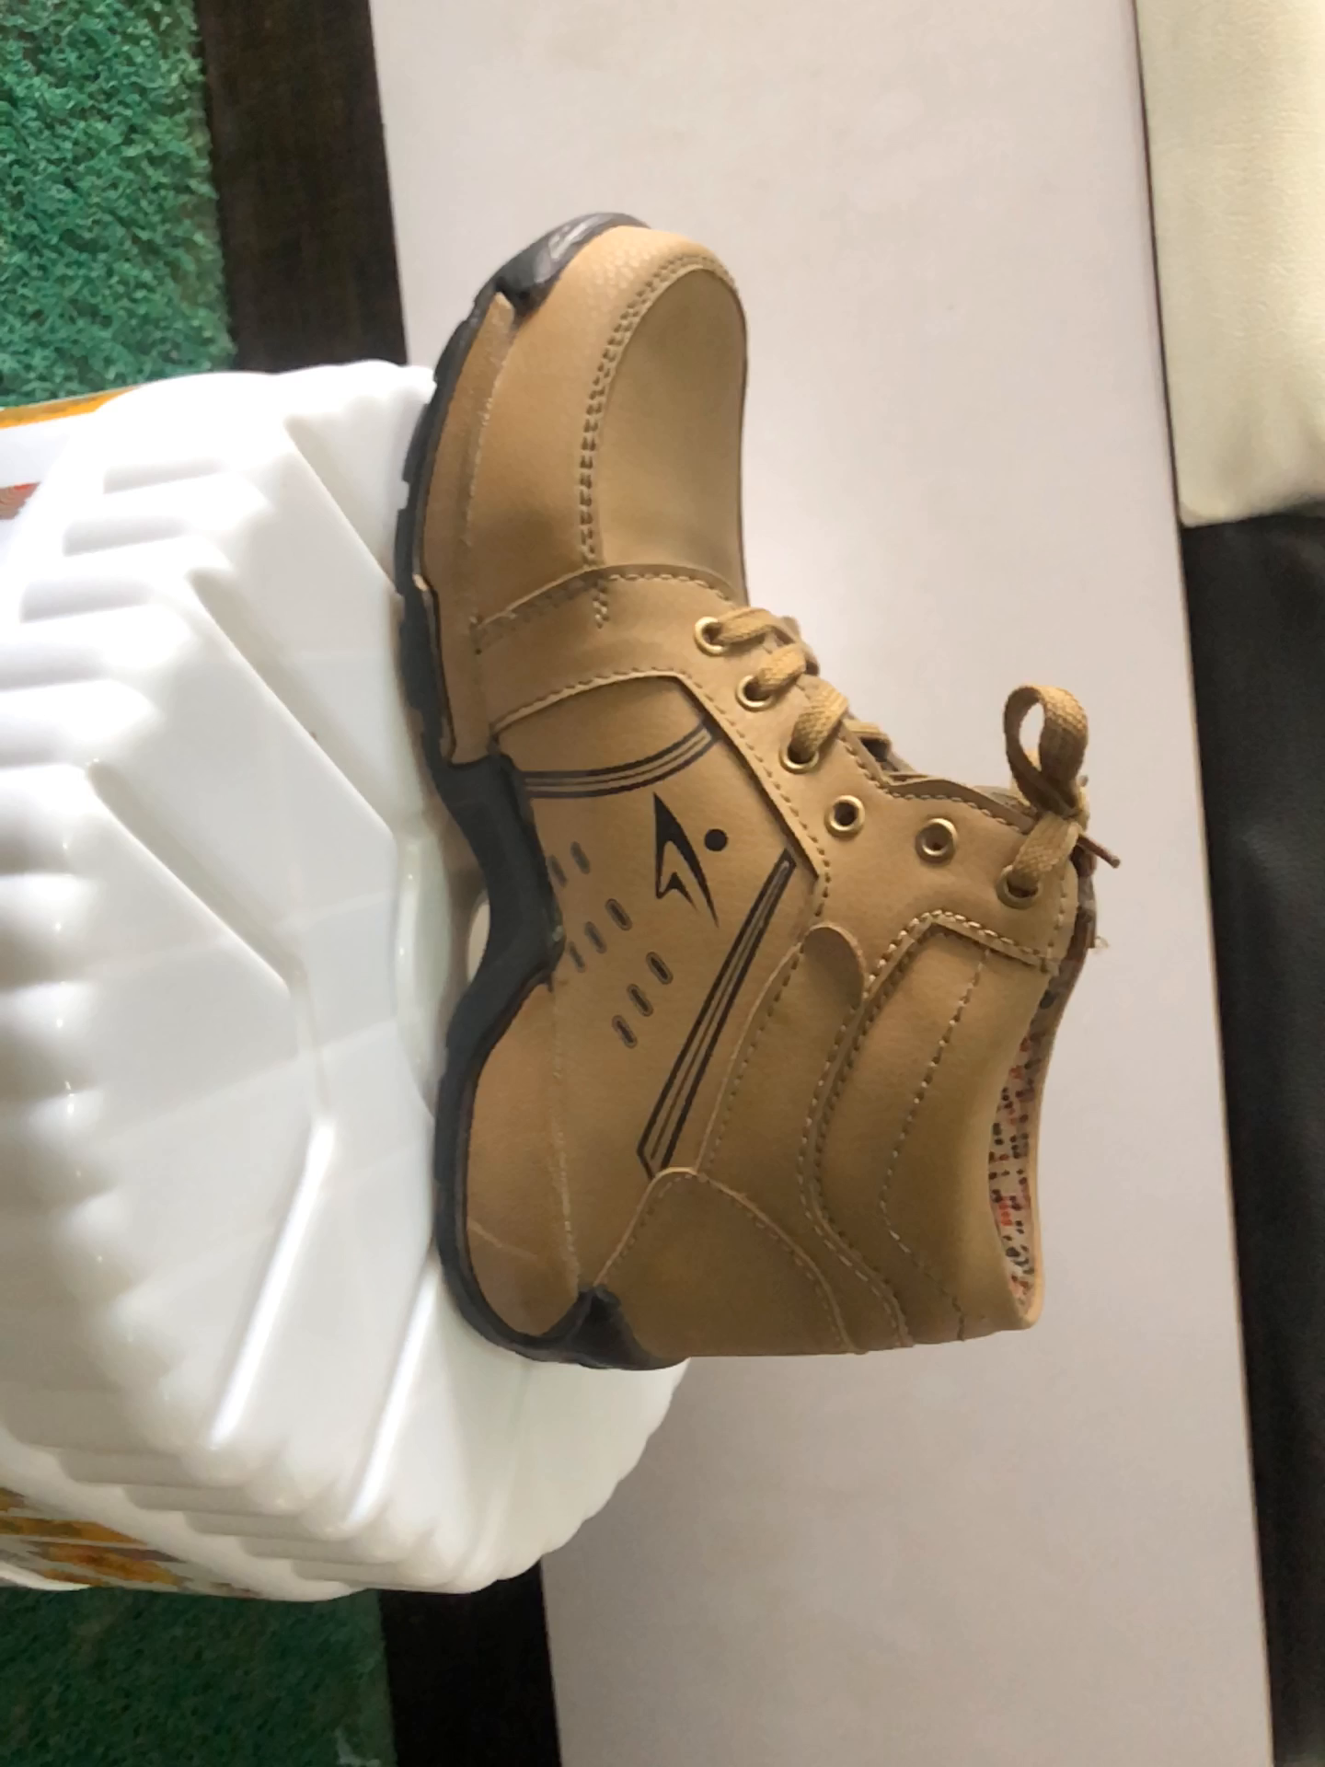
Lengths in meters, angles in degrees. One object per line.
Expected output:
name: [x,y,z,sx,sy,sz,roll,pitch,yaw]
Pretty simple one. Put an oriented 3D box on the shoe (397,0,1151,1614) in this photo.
shoe: [0.032,-0.029,0.326,0.141,0.109,0.300,7,80,-63]
